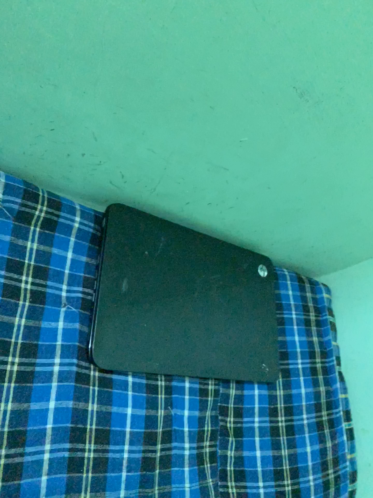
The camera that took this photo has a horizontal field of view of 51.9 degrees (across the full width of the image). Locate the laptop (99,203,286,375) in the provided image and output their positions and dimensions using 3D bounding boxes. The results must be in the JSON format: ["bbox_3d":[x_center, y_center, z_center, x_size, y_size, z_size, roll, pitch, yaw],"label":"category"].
[{"bbox_3d":[0.035,0.080,0.613,0.348,0.018,0.217,17,64,-35],"label":"laptop"}]
